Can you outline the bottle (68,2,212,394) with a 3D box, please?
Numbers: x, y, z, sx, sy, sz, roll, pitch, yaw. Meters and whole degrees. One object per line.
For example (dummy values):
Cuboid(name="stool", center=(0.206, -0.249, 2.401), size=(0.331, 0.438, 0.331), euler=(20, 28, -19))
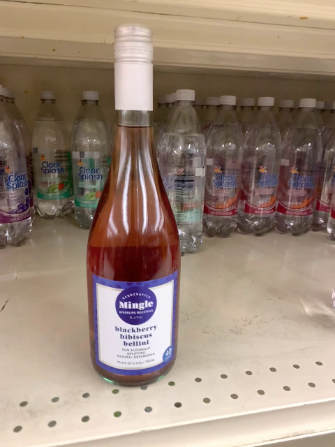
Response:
Cuboid(name="bottle", center=(-0.025, -0.006, 0.298), size=(0.090, 0.299, 0.080), euler=(0, 18, -6))
